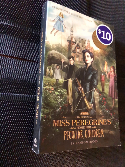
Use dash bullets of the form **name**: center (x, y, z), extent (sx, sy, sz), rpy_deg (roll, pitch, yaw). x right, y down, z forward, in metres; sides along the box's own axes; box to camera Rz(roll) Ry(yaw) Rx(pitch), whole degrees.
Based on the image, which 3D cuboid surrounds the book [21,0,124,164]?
- **book**: center (0.026, -0.012, 0.235), extent (0.160, 0.050, 0.230), rpy_deg (6, 81, -28)
